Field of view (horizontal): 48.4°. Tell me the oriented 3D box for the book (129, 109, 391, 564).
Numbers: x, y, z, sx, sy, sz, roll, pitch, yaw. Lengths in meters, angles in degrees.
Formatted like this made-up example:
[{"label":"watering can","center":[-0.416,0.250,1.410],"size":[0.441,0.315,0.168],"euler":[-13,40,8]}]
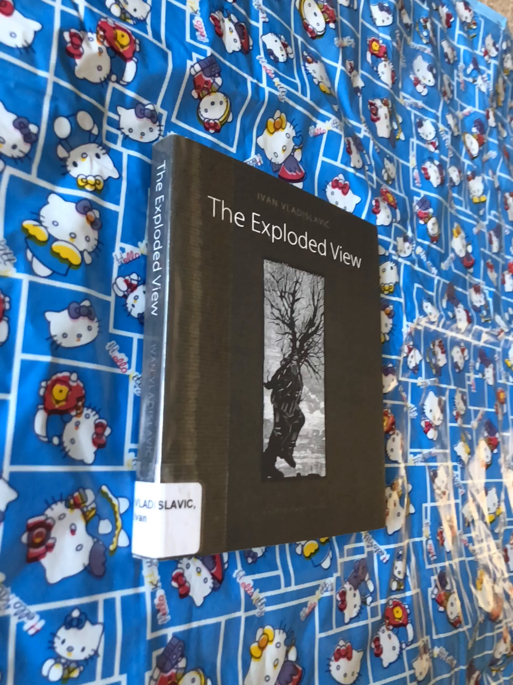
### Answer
[{"label":"book","center":[0.014,0.003,0.265],"size":[0.141,0.020,0.170],"euler":[11,78,-42]}]
